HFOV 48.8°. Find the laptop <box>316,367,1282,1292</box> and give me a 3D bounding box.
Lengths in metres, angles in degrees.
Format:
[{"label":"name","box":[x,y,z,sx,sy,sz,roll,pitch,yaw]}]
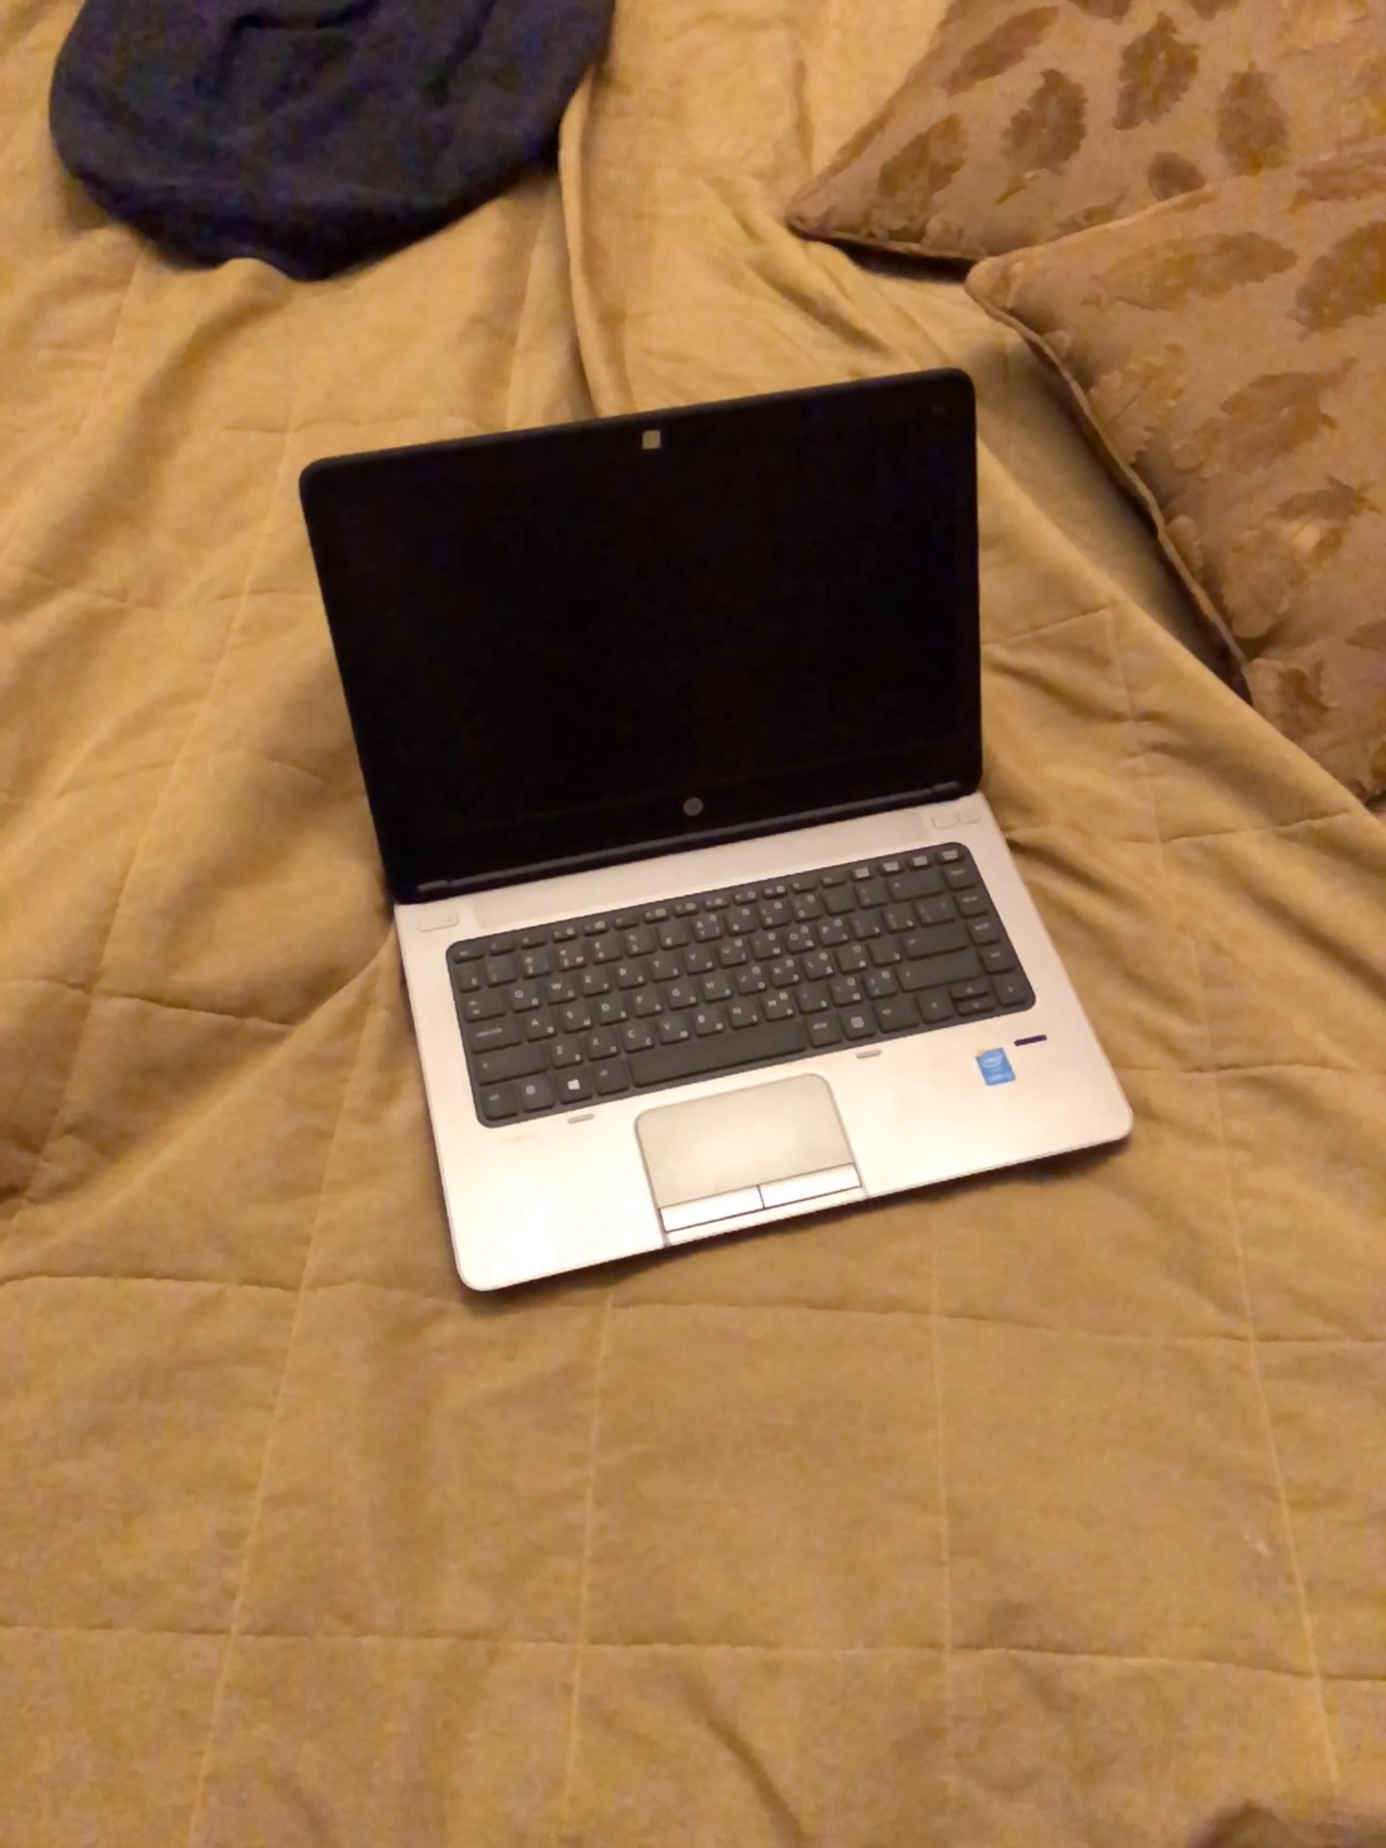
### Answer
[{"label":"laptop","box":[0.021,-0.056,0.733,0.332,0.189,0.340,-12,58,-9]}]
